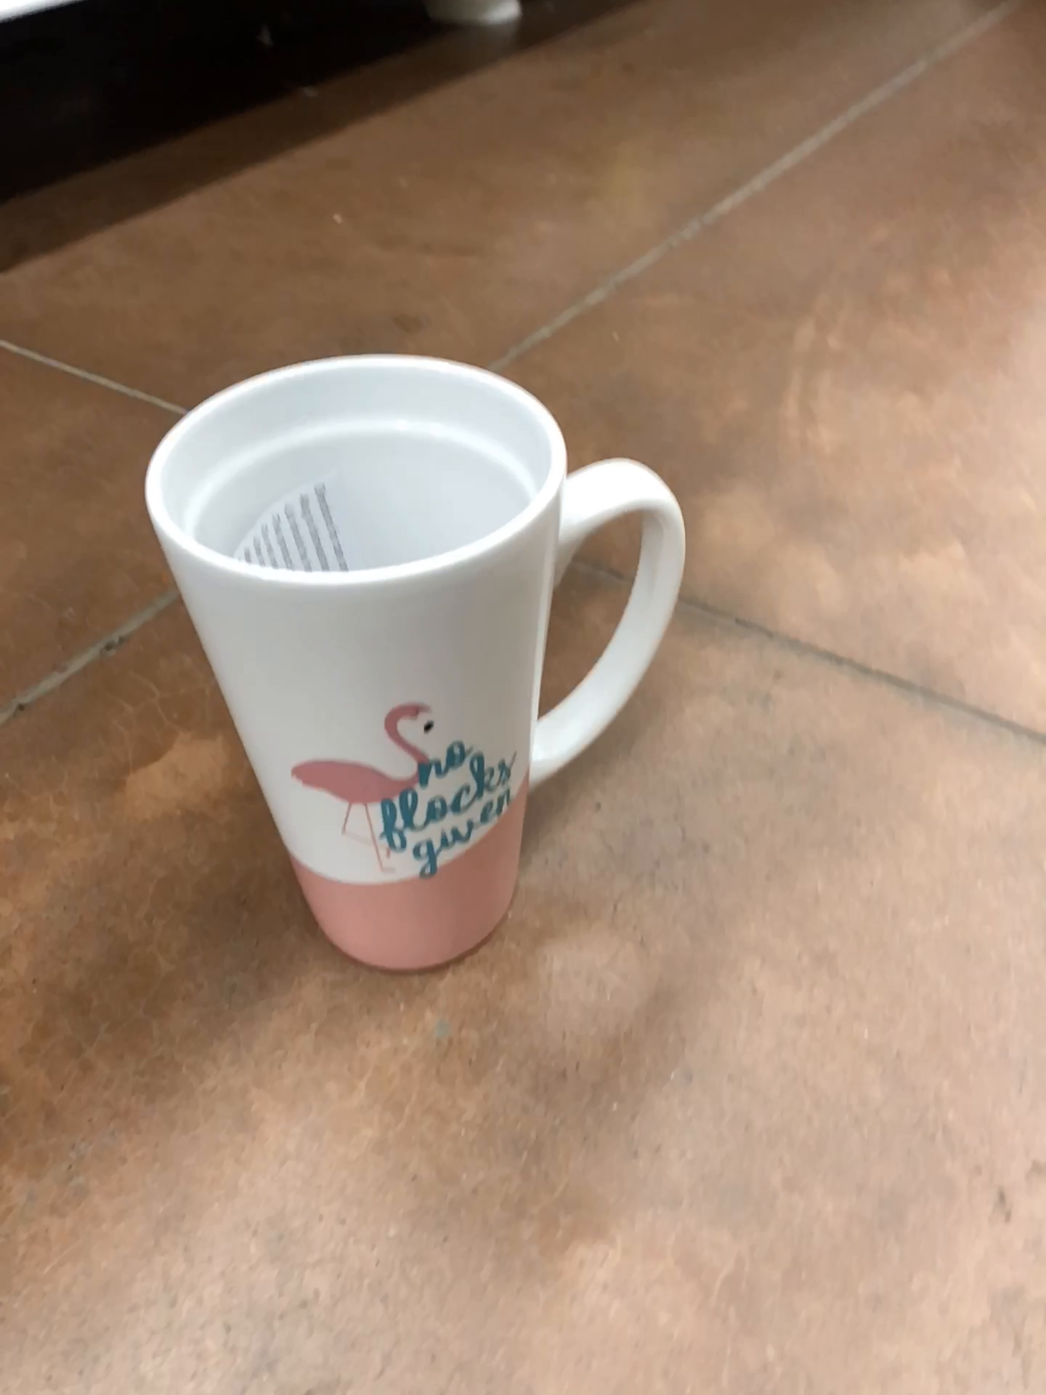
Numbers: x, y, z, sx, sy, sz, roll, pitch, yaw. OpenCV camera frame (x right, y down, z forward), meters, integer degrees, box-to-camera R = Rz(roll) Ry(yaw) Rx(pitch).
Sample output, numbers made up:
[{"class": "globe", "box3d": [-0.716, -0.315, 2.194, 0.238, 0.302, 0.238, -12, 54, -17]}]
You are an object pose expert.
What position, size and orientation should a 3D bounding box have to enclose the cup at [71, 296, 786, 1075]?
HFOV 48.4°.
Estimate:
[{"class": "cup", "box3d": [-0.023, -0.006, 0.308, 0.130, 0.139, 0.100, -21, 46, -20]}]
